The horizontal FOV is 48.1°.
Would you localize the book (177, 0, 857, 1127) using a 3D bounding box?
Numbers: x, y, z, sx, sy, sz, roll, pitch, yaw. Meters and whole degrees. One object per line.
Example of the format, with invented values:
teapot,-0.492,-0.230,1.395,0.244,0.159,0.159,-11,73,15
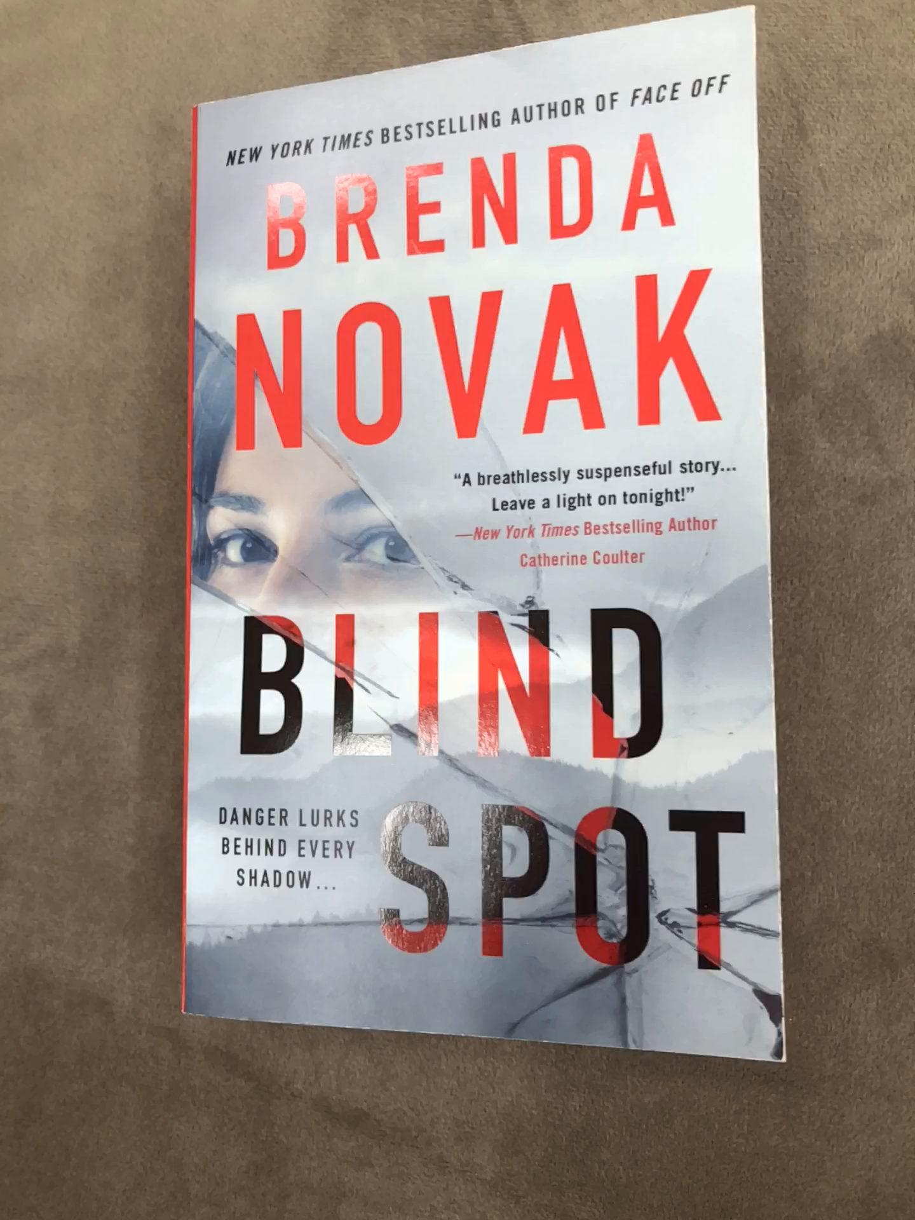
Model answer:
book,0.011,-0.013,0.206,0.120,0.050,0.190,-2,86,18
